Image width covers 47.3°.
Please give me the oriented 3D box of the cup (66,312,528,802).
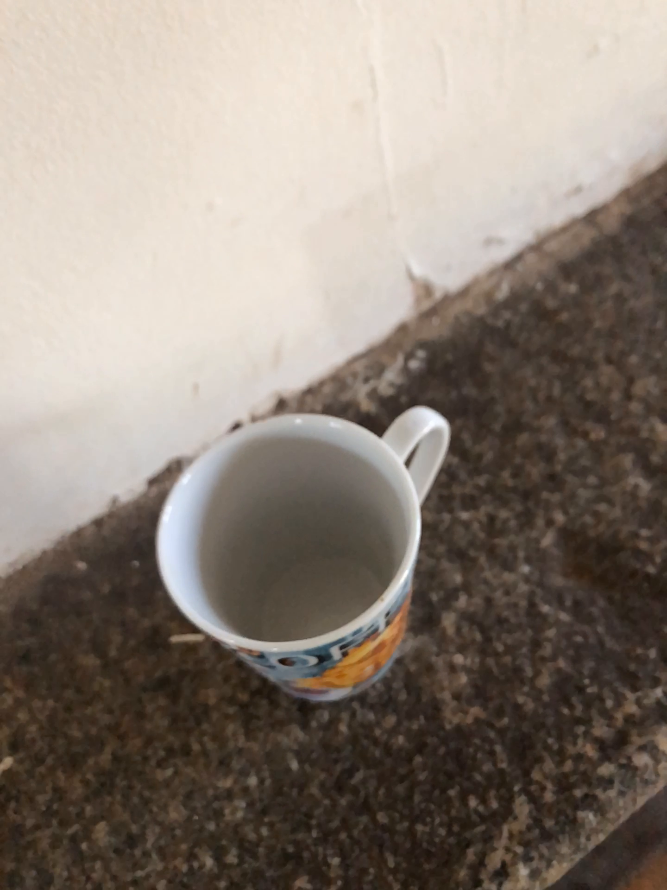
[{"bbox_3d":[-0.002,0.026,0.182,0.060,0.060,0.080,30,67,27],"label":"cup"}]
